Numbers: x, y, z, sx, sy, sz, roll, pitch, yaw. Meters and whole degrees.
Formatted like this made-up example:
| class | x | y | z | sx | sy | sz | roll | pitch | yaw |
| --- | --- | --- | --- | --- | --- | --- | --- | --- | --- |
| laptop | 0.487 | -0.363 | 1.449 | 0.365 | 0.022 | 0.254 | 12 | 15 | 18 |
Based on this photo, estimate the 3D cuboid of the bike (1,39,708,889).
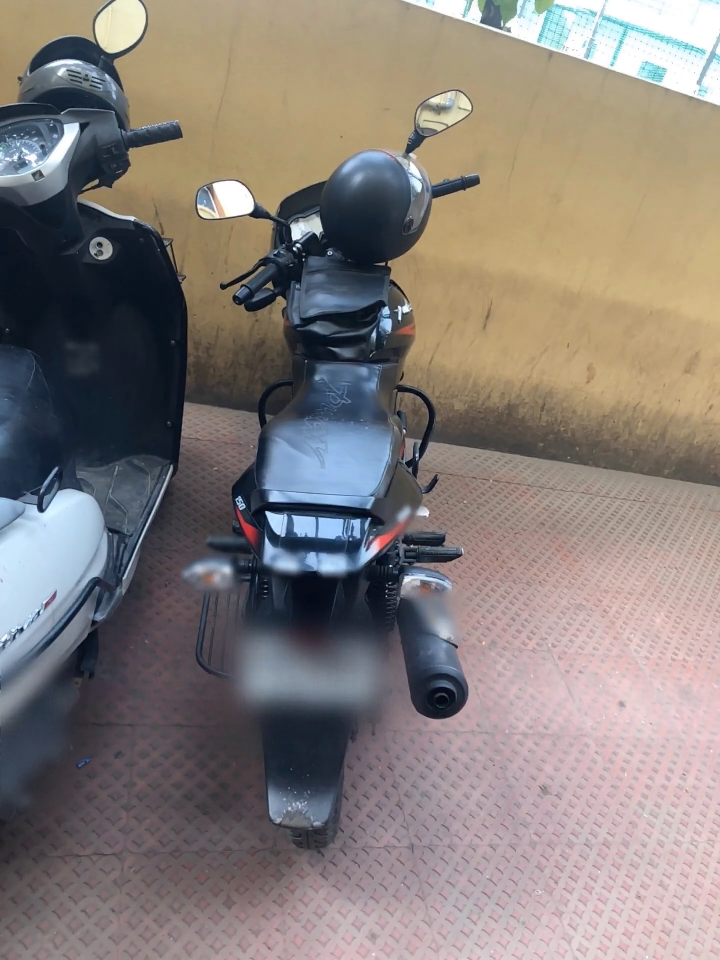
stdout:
| class | x | y | z | sx | sy | sz | roll | pitch | yaw |
| --- | --- | --- | --- | --- | --- | --- | --- | --- | --- |
| bike | -0.197 | -0.188 | 1.837 | 0.826 | 1.057 | 1.612 | 9 | 35 | -14 |
